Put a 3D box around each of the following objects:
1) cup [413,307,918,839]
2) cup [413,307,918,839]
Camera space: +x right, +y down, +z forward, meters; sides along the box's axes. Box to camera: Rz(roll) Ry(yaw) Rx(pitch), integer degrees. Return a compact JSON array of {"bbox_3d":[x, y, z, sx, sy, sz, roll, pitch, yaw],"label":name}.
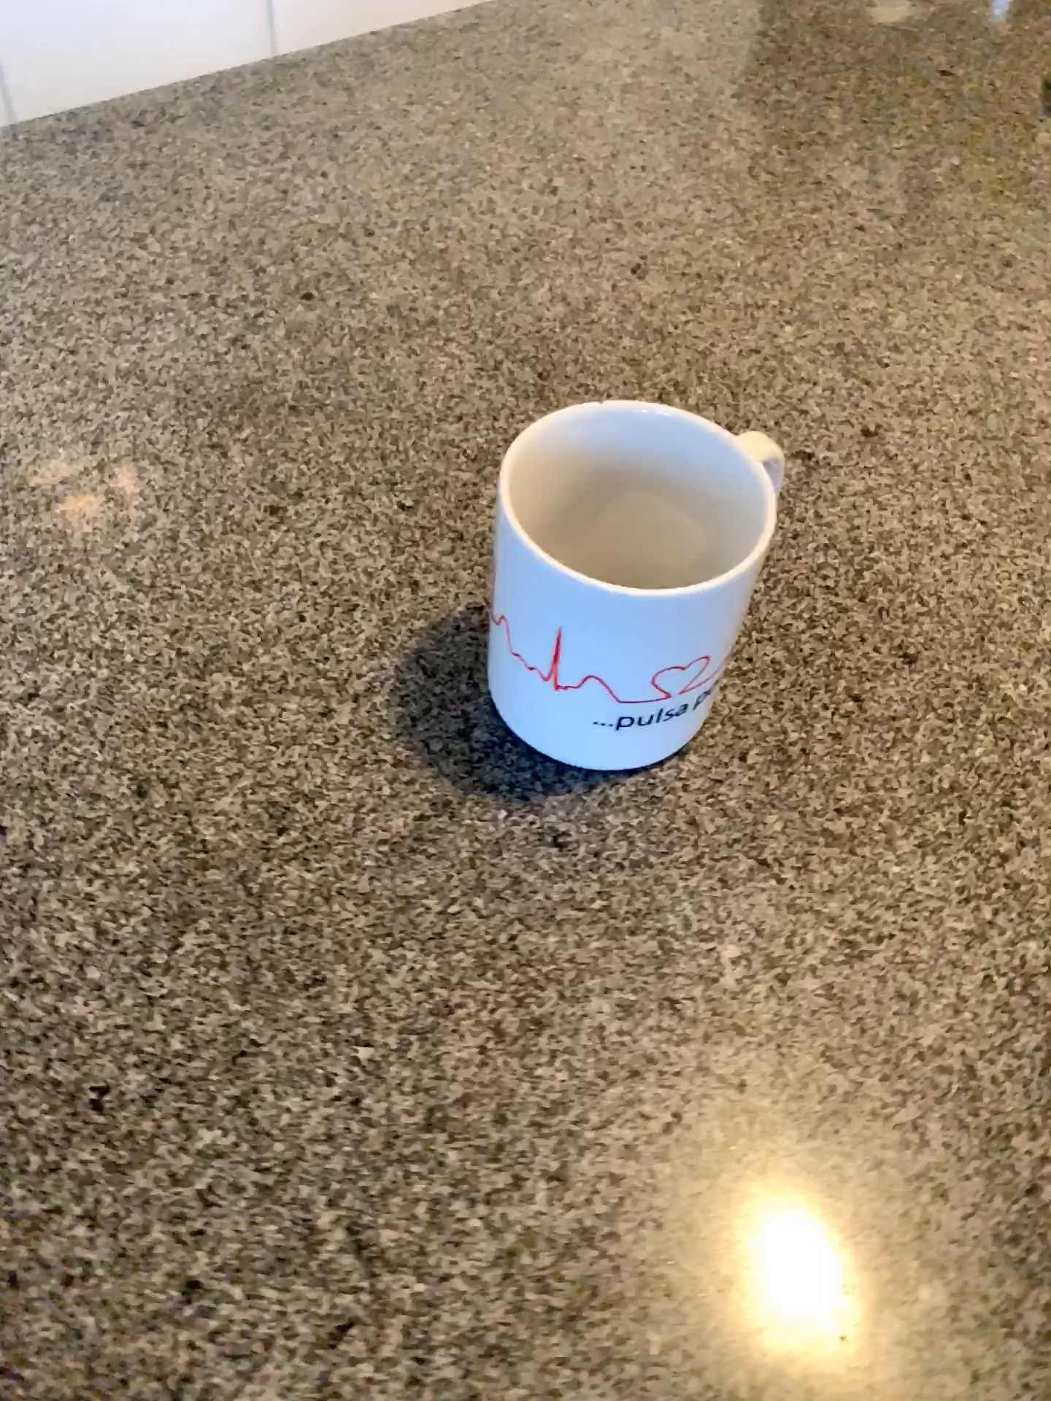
[{"bbox_3d":[0.039,-0.043,0.355,0.120,0.100,0.090,-33,62,-26],"label":"cup"},{"bbox_3d":[0.039,-0.043,0.355,0.120,0.100,0.090,-33,62,-26],"label":"cup"}]
